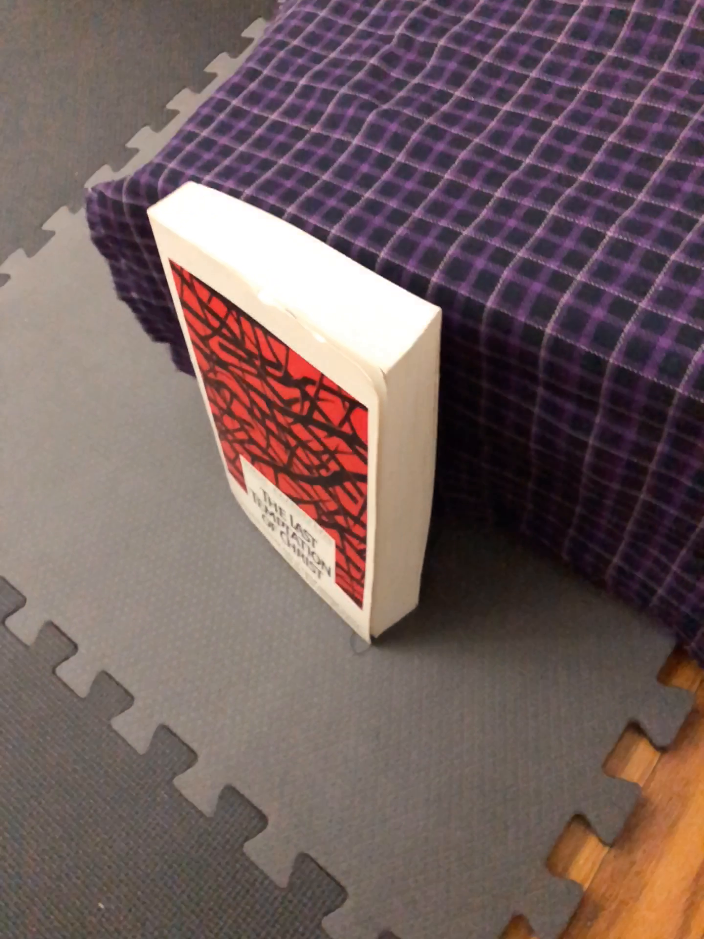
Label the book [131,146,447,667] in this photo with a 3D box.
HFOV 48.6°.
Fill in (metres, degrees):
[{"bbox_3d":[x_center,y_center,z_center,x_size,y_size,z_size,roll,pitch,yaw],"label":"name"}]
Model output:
[{"bbox_3d":[-0.022,-0.020,0.378,0.050,0.209,0.151,-30,55,-17],"label":"book"}]
